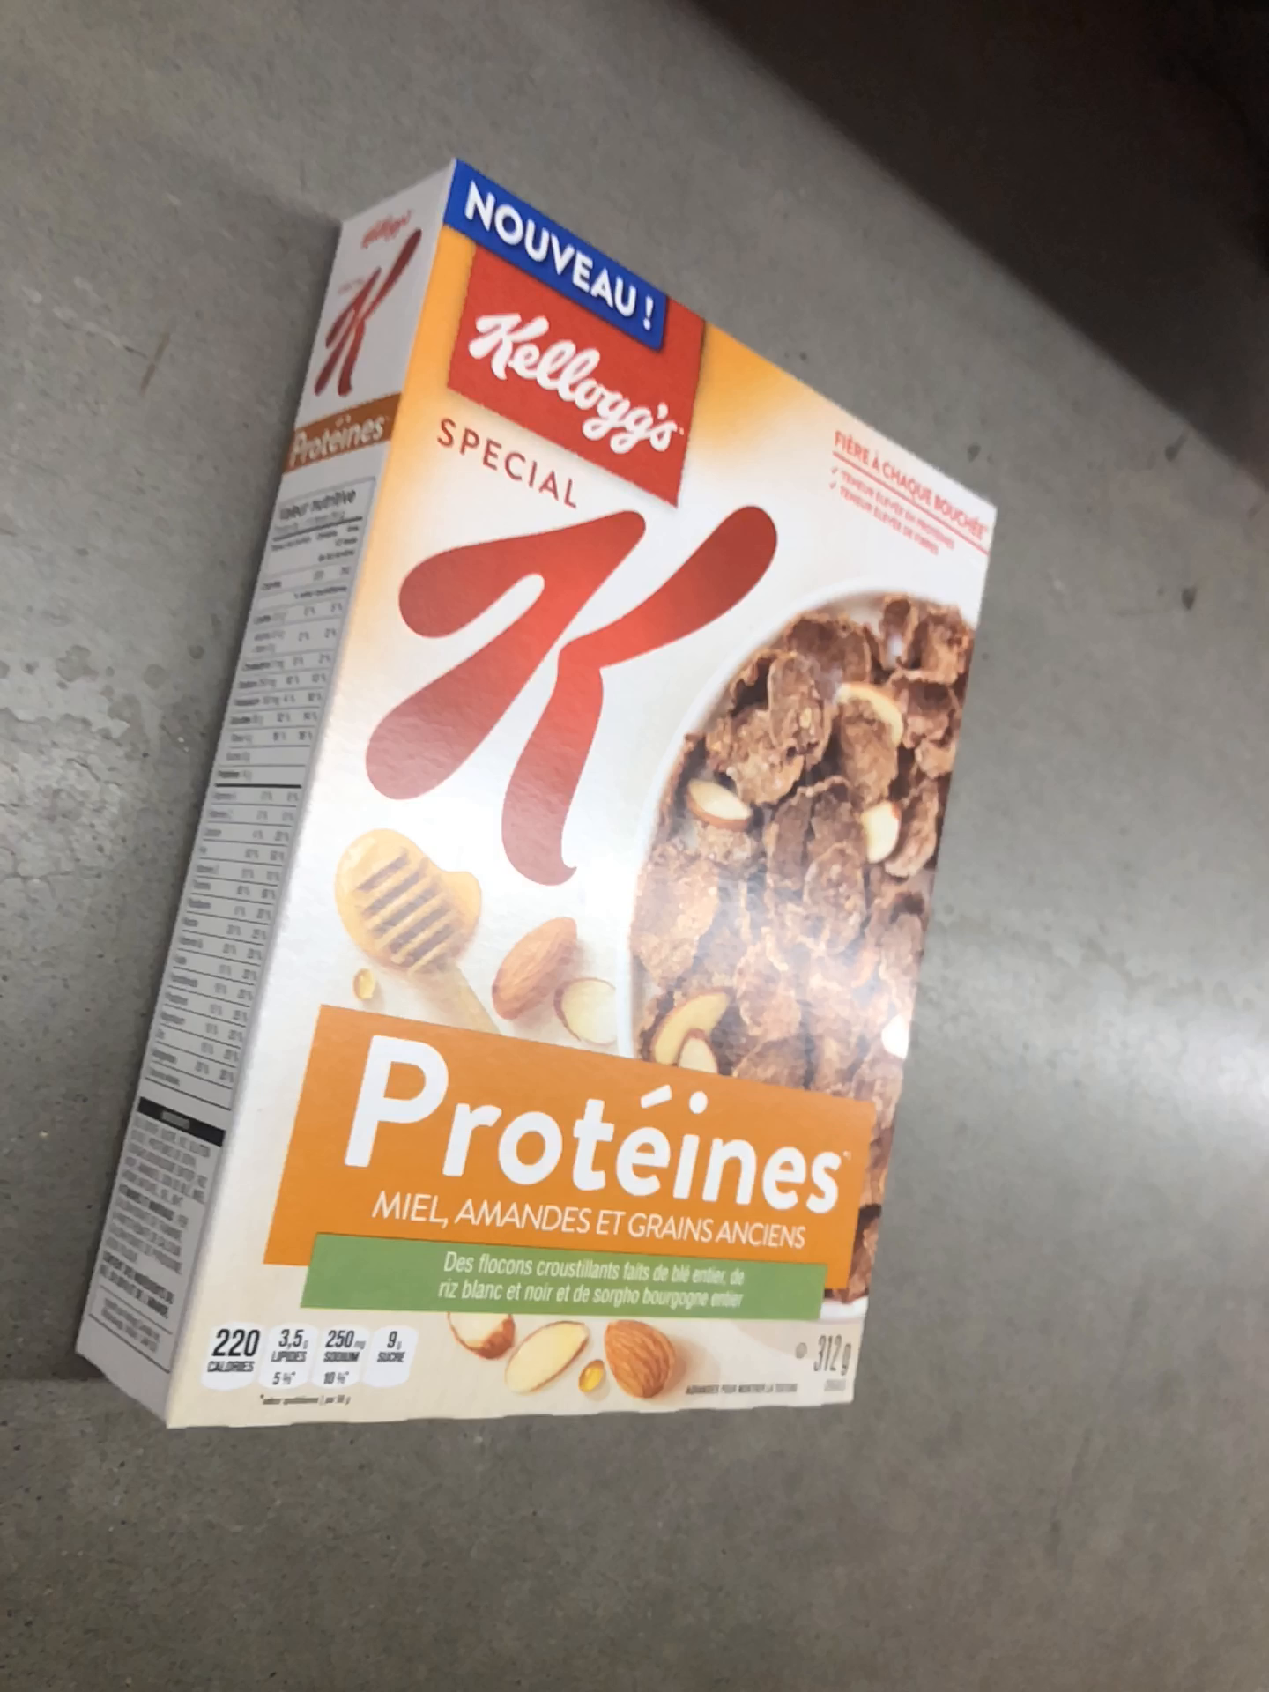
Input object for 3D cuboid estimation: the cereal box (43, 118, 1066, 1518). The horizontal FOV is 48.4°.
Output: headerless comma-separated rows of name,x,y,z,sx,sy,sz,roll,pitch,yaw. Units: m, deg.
cereal box,0.002,0.009,0.328,0.201,0.050,0.250,16,82,-39
